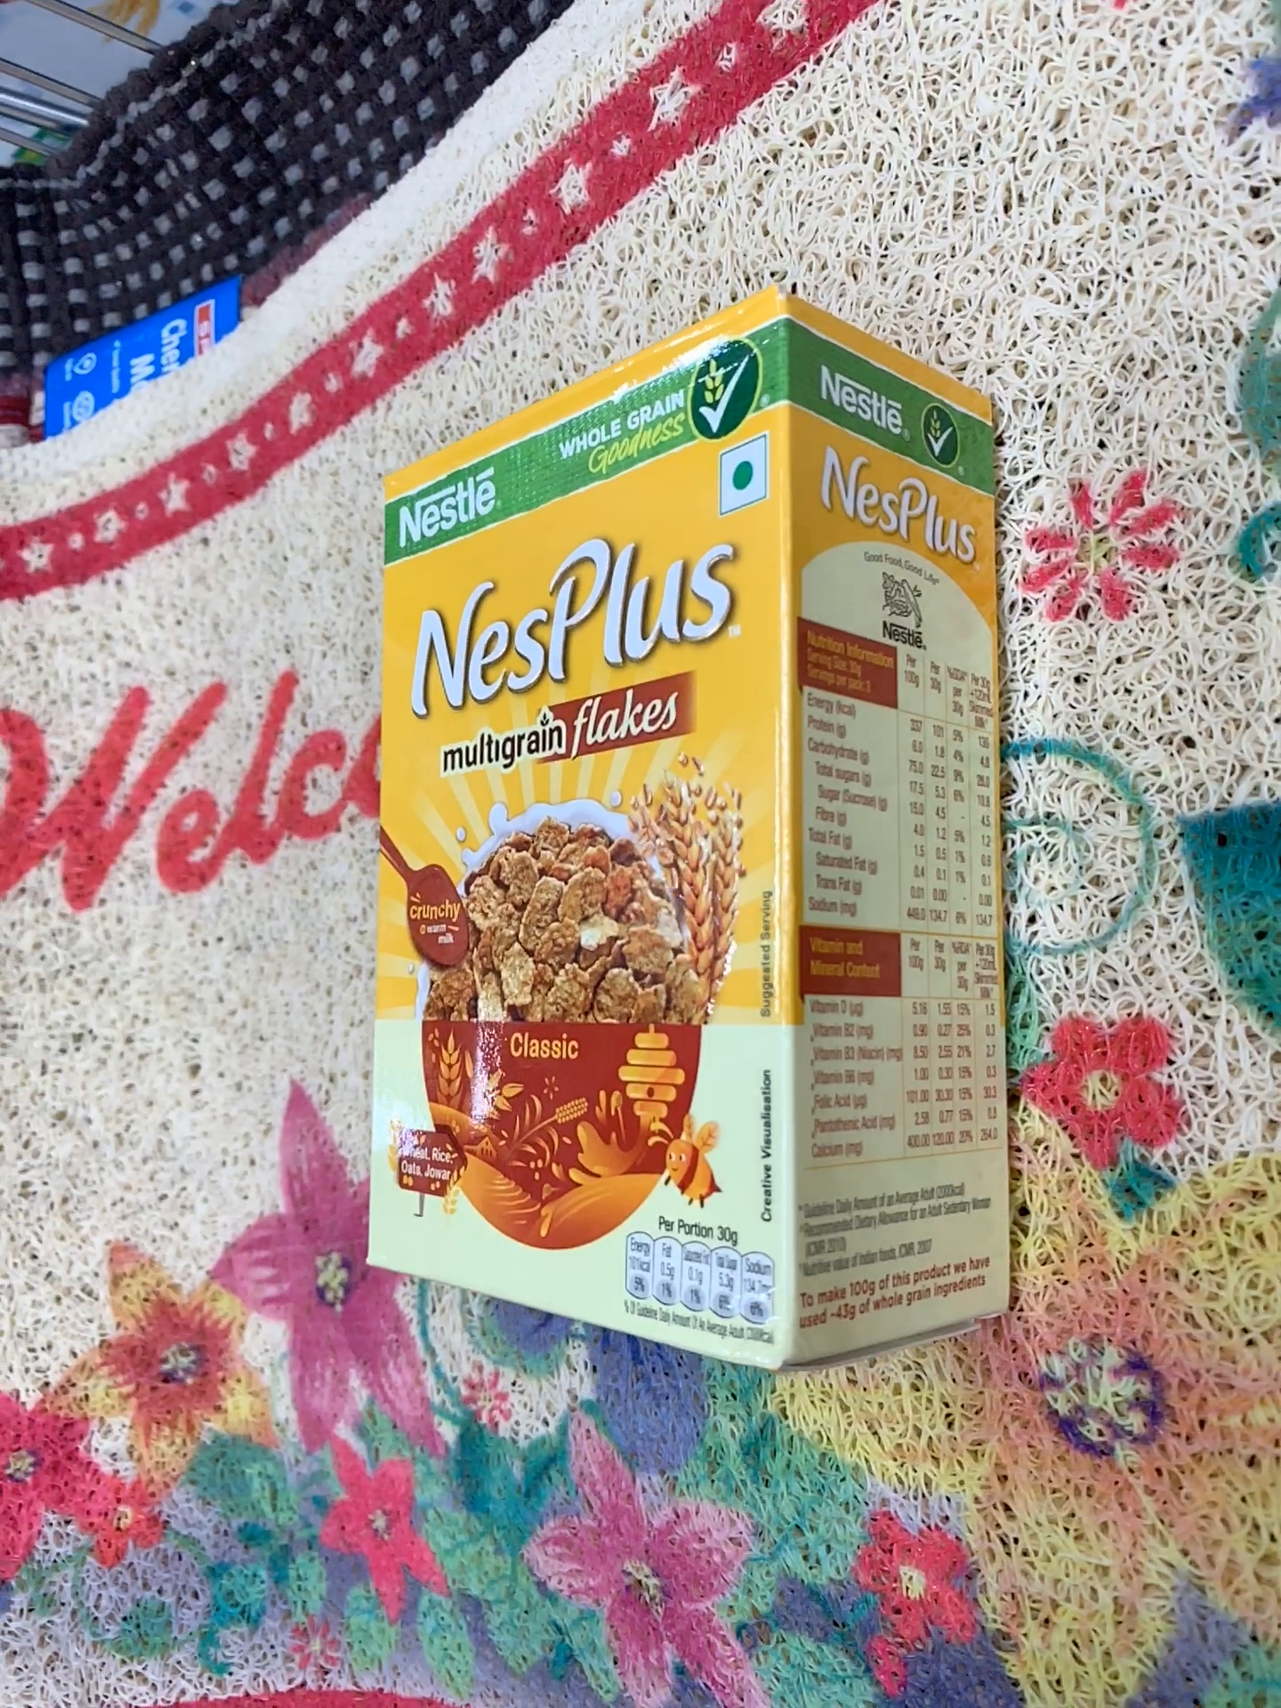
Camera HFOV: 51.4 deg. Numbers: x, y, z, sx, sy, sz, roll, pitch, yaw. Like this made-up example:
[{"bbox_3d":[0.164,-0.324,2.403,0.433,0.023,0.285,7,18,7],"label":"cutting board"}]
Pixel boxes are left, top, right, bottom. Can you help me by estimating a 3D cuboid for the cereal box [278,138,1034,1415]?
[{"bbox_3d":[-0.006,-0.006,0.216,0.131,0.040,0.150,-7,79,48],"label":"cereal box"}]
